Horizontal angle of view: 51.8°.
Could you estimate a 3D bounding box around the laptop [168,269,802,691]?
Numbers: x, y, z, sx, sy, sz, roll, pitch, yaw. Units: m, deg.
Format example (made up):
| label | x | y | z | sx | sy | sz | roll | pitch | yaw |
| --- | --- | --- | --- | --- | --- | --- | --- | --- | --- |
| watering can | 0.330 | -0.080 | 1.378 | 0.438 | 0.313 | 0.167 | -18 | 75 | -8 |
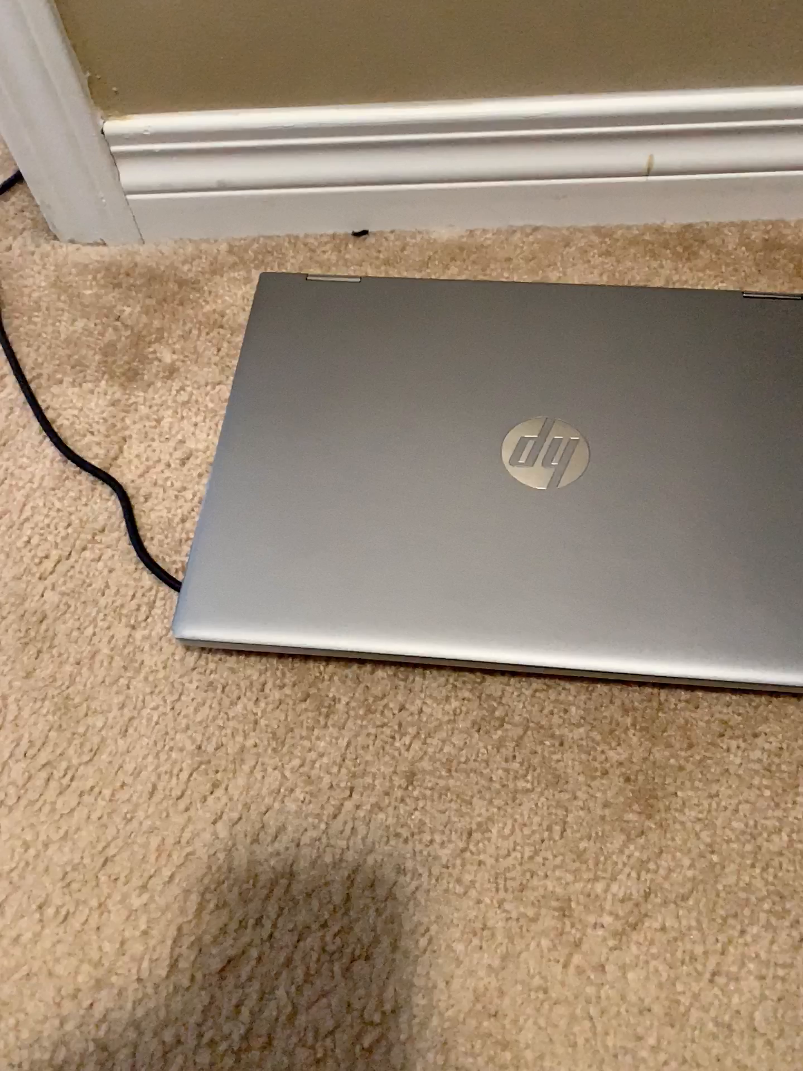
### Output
| label | x | y | z | sx | sy | sz | roll | pitch | yaw |
| --- | --- | --- | --- | --- | --- | --- | --- | --- | --- |
| laptop | 0.072 | -0.042 | 0.396 | 0.319 | 0.001 | 0.222 | 4 | 60 | 3 |
